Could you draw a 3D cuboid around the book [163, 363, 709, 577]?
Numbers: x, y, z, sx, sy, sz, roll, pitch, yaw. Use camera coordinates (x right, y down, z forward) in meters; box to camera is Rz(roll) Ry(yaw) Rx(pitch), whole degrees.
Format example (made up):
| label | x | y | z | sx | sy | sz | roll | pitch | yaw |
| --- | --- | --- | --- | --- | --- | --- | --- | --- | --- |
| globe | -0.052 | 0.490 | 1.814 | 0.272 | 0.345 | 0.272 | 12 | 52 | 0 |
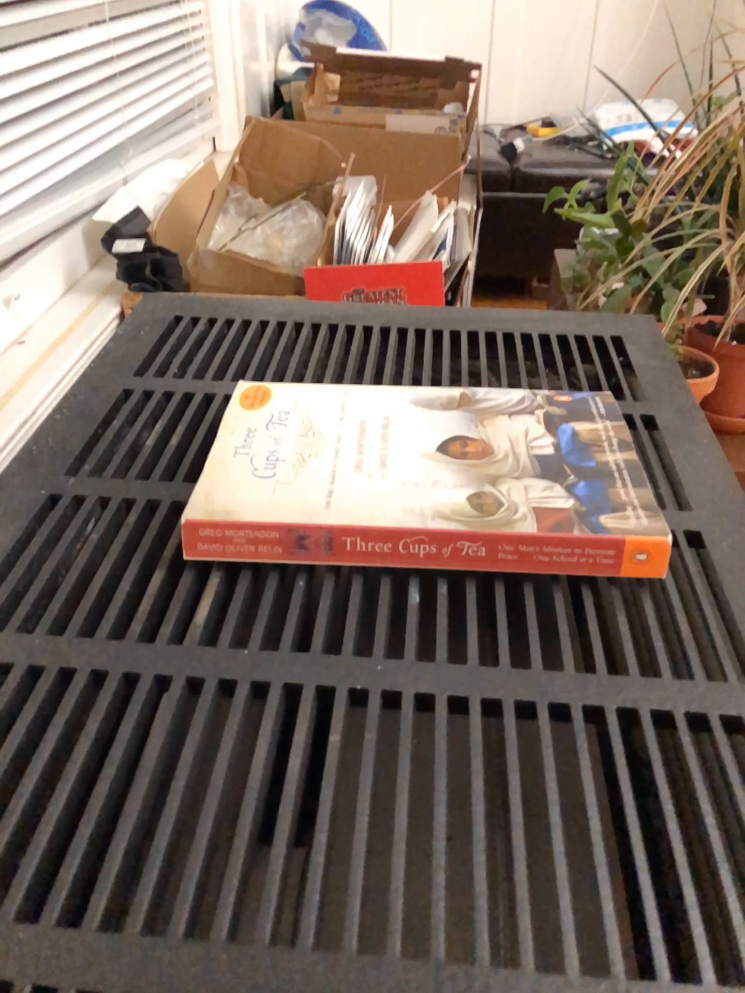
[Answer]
| label | x | y | z | sx | sy | sz | roll | pitch | yaw |
| --- | --- | --- | --- | --- | --- | --- | --- | --- | --- |
| book | 0.026 | -0.020 | 0.397 | 0.220 | 0.030 | 0.141 | 1 | 35 | 1 |
